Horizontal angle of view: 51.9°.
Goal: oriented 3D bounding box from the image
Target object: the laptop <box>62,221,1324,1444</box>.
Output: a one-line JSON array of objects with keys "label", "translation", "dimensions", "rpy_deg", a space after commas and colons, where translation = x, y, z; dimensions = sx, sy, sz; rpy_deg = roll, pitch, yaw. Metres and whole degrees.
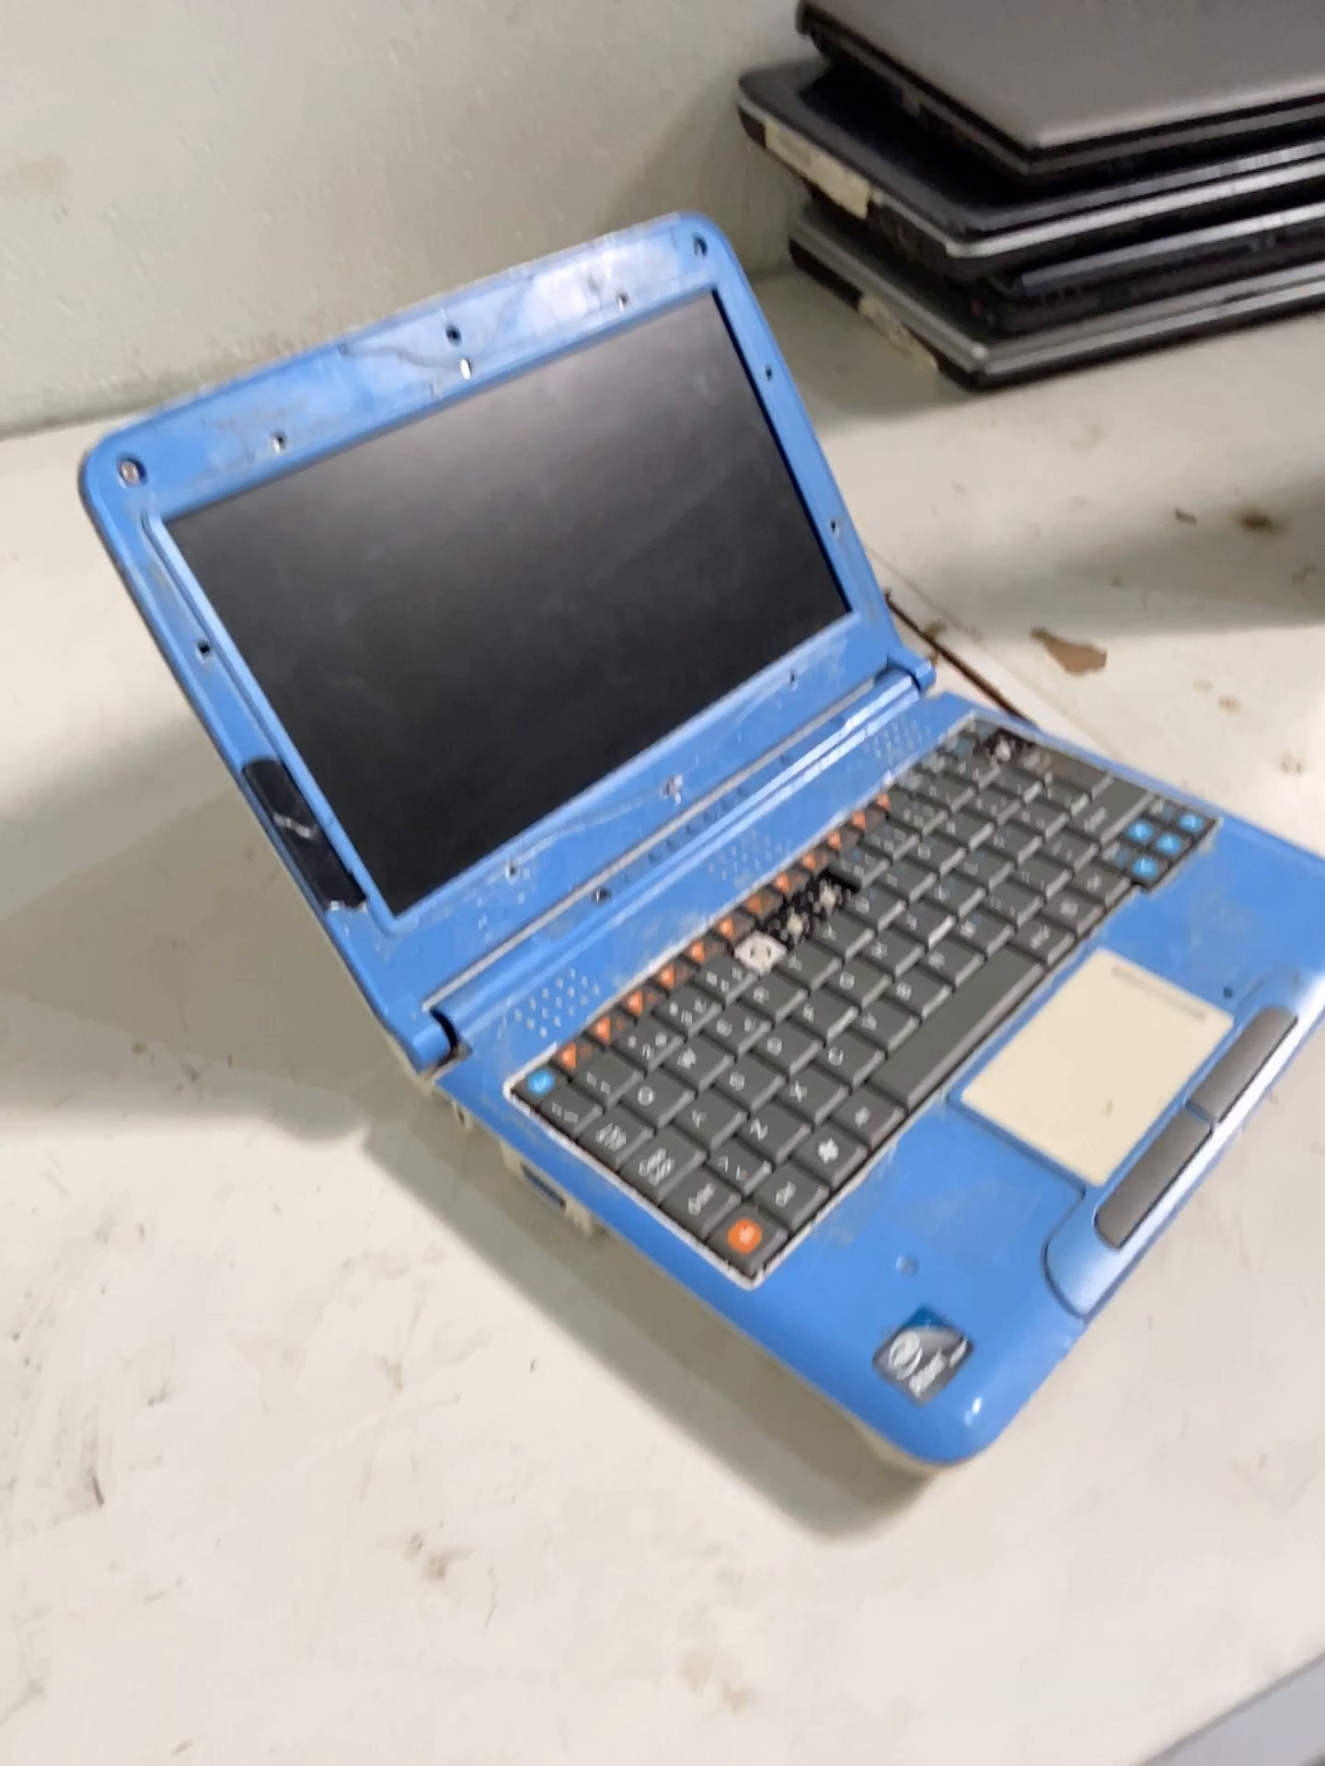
[{"label": "laptop", "translation": [0.039, -0.053, 0.390], "dimensions": [0.287, 0.149, 0.241], "rpy_deg": [31, 52, 31]}]
